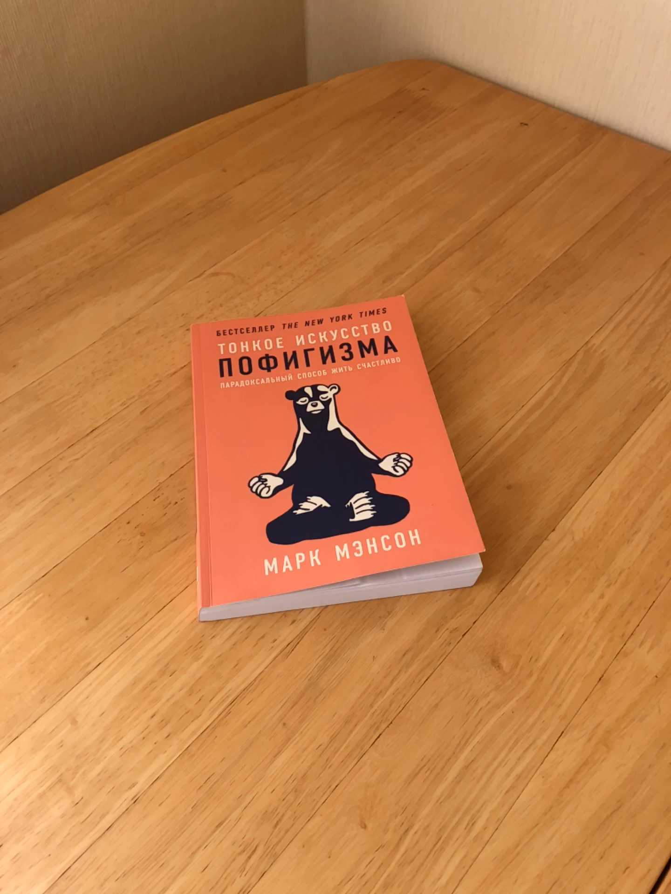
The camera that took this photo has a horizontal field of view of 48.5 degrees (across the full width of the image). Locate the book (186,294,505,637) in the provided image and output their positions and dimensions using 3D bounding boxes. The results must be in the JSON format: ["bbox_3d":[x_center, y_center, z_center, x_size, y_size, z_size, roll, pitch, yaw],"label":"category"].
[{"bbox_3d":[-0.006,-0.002,0.417,0.143,0.033,0.197,-7,51,-5],"label":"book"}]
